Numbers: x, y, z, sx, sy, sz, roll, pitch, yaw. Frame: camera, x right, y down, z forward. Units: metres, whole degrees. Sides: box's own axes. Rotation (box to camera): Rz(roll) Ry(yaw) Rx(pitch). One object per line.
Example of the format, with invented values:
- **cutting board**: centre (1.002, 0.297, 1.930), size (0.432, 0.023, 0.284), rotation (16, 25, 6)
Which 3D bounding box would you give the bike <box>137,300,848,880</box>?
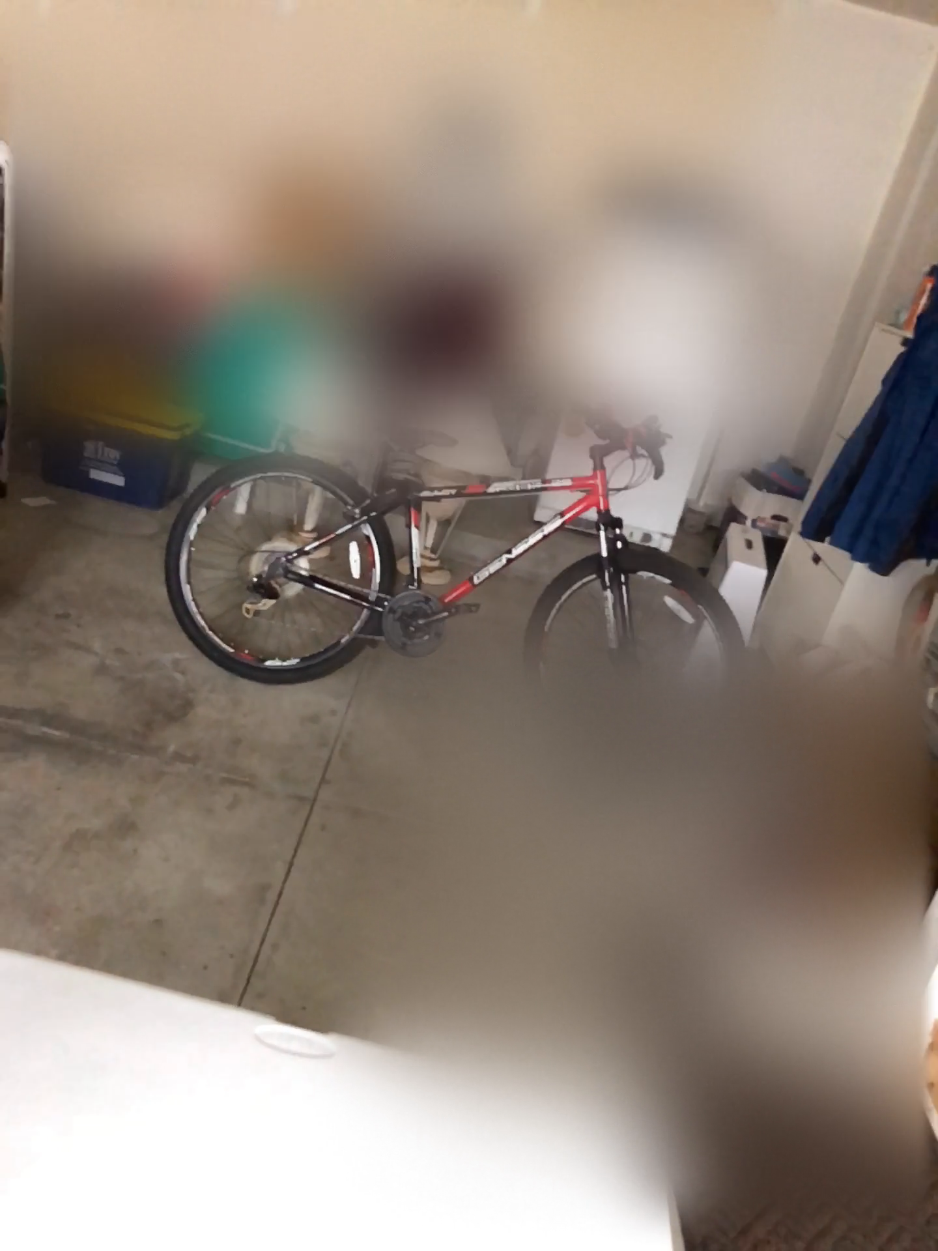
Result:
- **bike**: centre (-0.032, -0.161, 2.946), size (1.668, 1.054, 0.591), rotation (17, 20, 6)
